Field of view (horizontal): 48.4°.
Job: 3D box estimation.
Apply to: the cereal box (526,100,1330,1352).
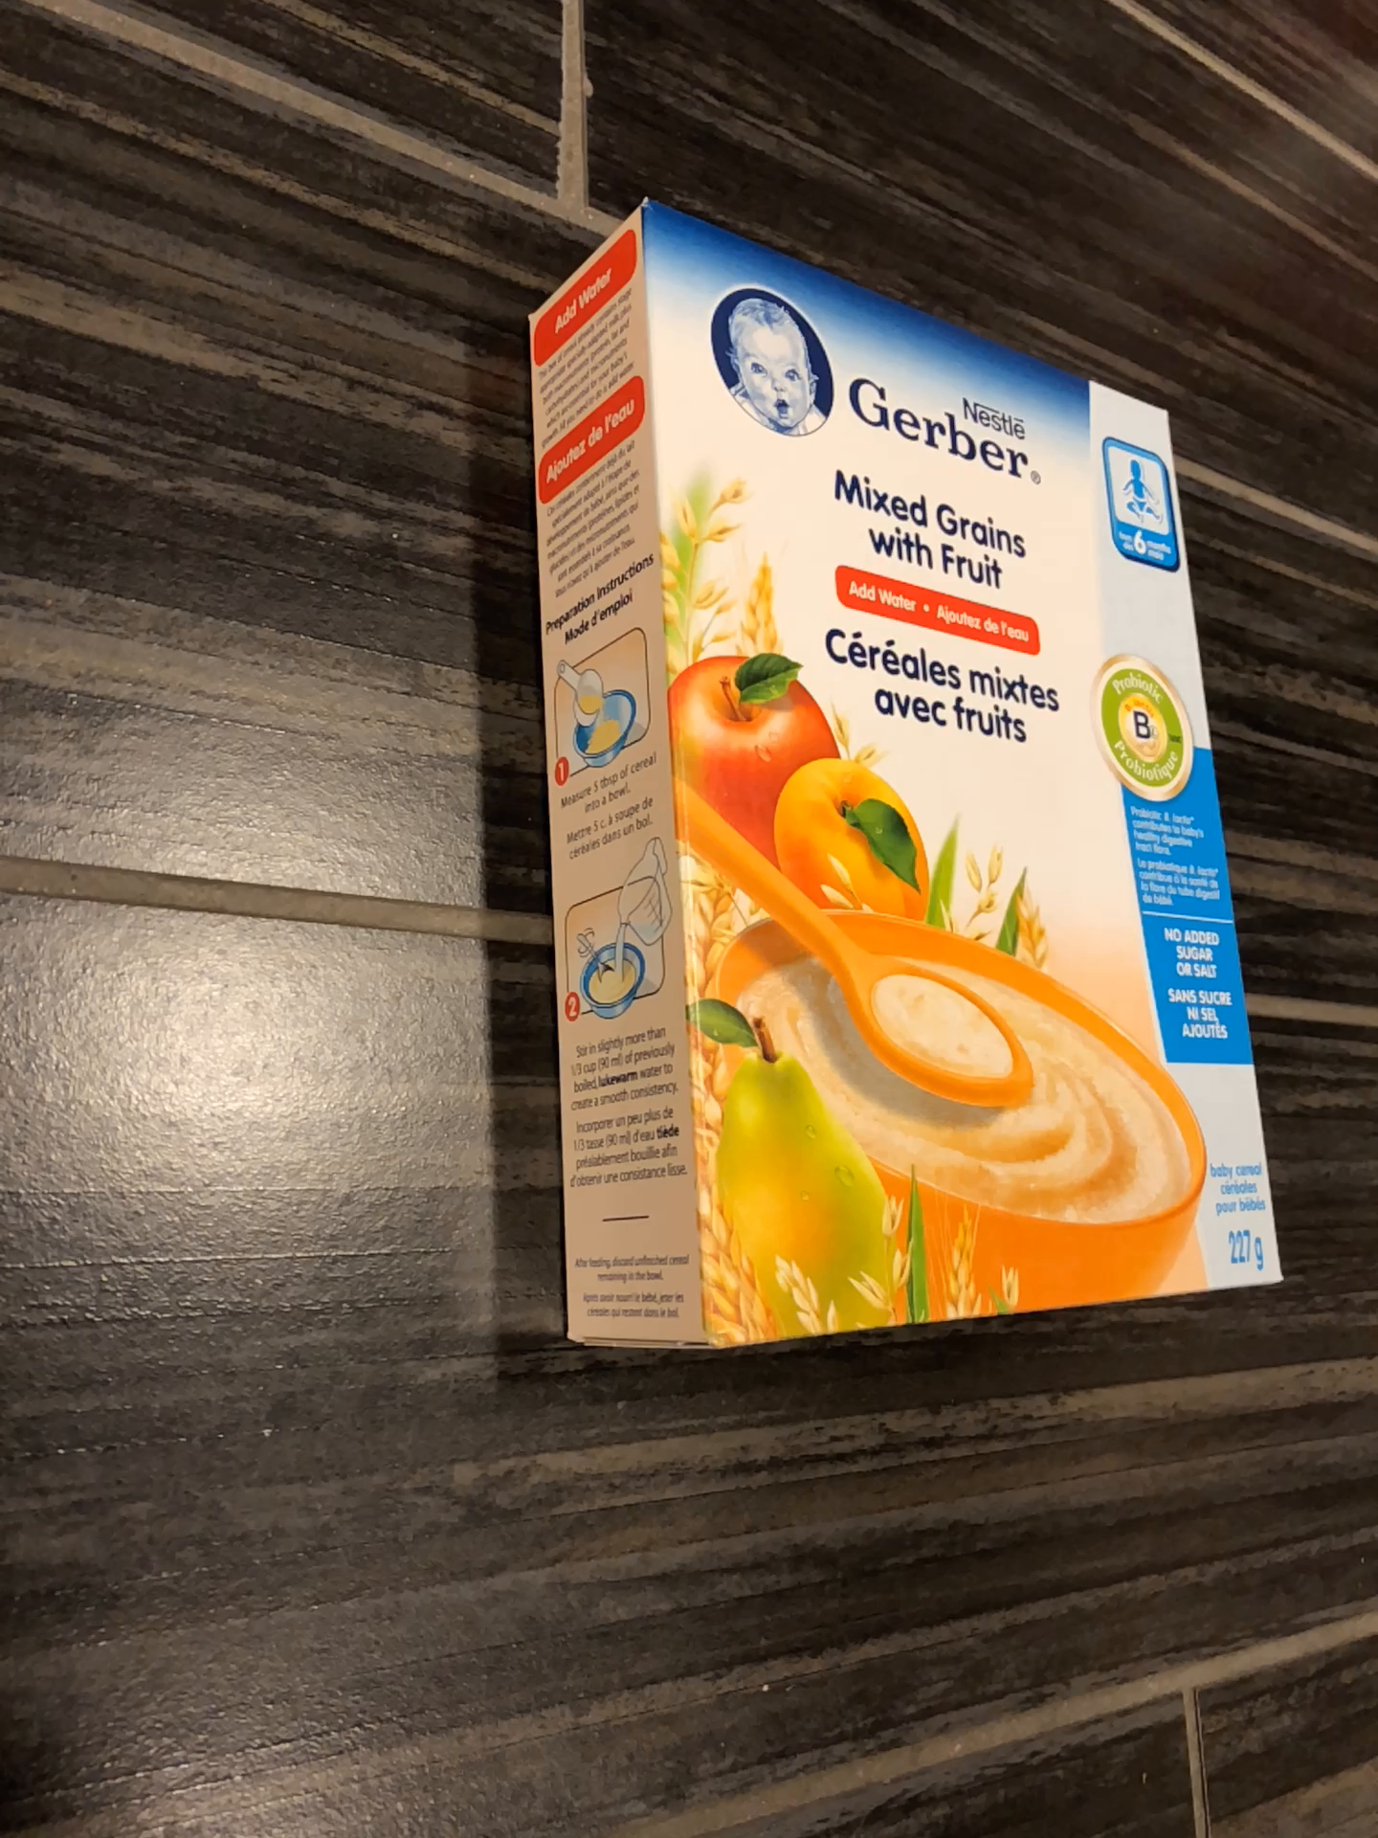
[{"bbox_3d":[0.048,-0.027,0.298,0.151,0.050,0.200,6,77,-36],"label":"cereal box"}]
